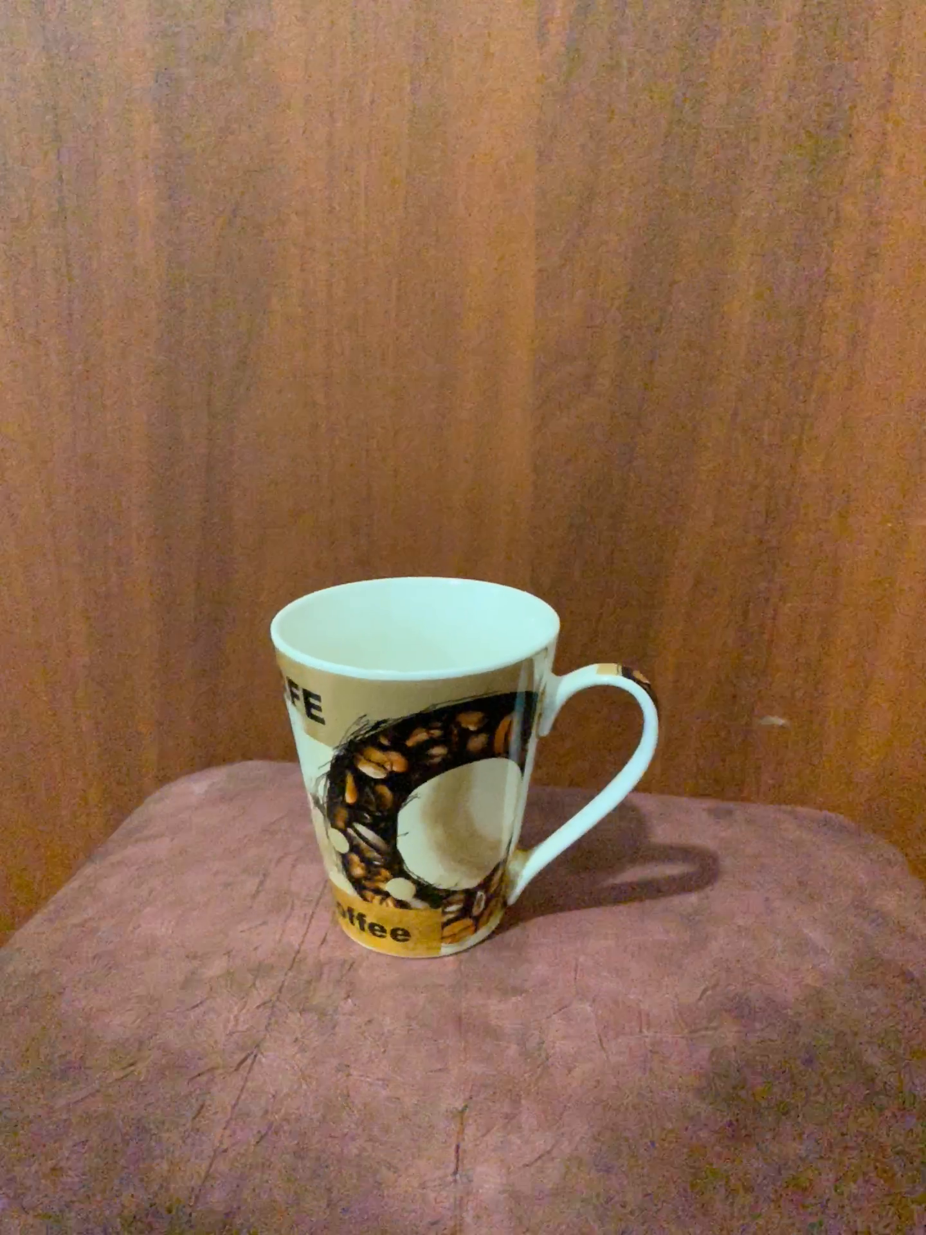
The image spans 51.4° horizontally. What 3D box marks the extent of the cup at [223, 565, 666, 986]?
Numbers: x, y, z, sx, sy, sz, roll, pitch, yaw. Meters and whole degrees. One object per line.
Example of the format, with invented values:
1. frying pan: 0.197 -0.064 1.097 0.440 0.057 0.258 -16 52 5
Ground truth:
1. cup: 0.001 0.043 0.312 0.119 0.092 0.095 3 19 9
